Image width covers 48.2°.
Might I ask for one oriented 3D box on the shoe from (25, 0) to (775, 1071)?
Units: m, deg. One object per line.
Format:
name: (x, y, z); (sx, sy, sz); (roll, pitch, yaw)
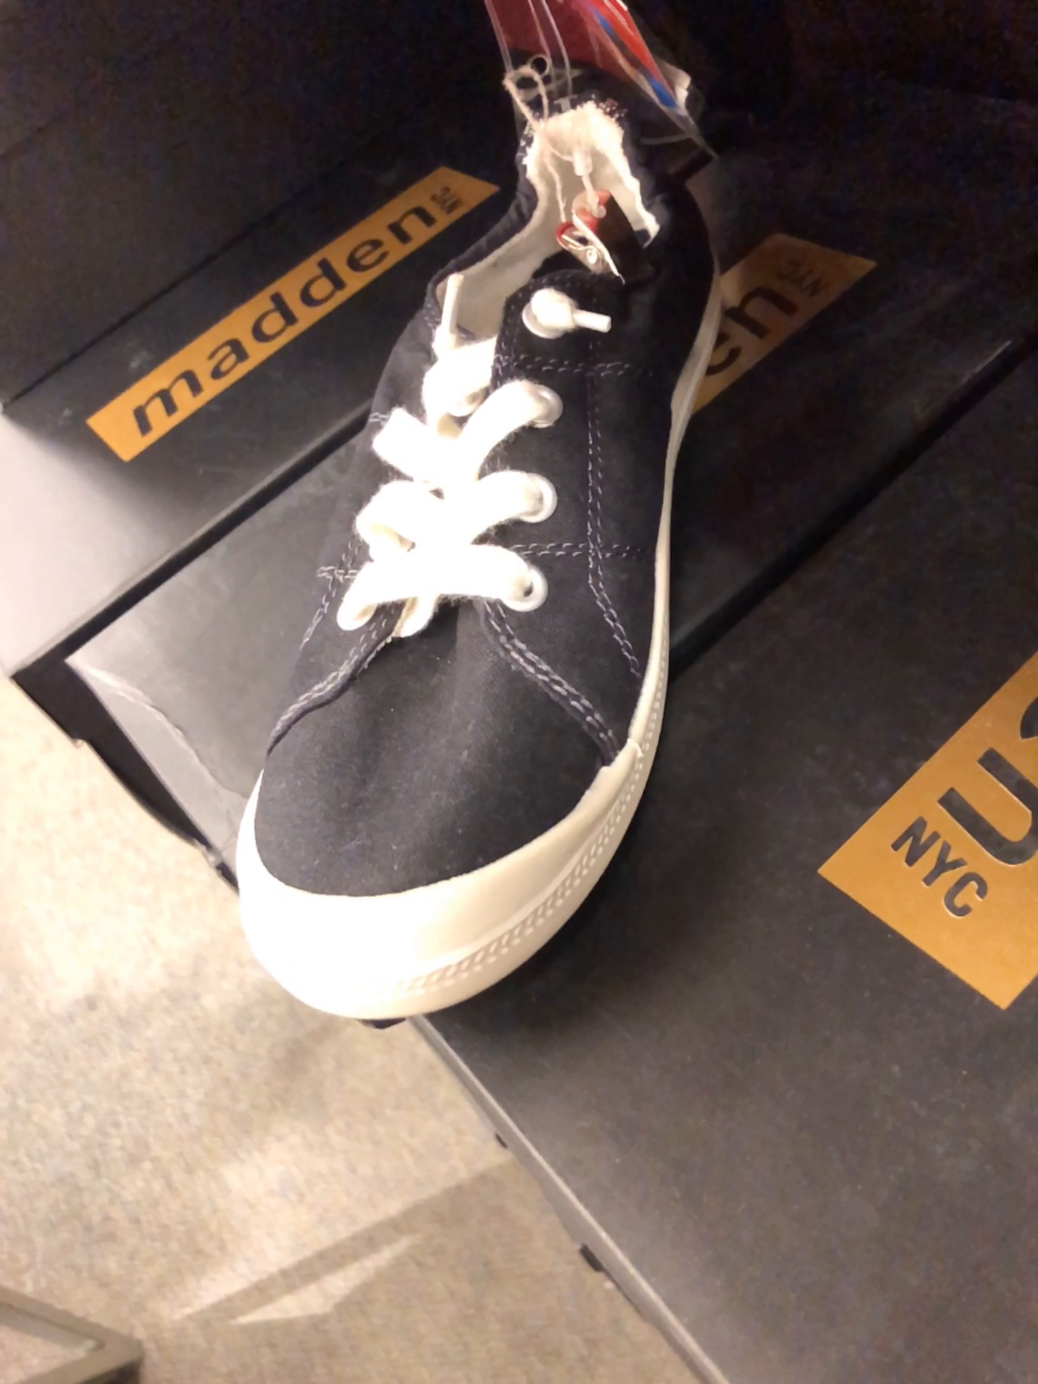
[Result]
shoe: (0.001, -0.051, 0.254); (0.080, 0.082, 0.235); (-2, 51, 22)
